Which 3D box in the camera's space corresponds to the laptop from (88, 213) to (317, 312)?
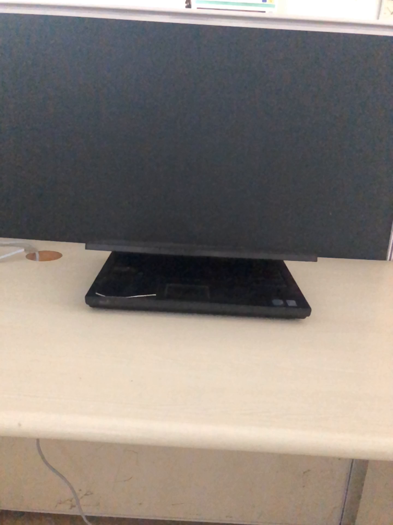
[{"bbox_3d":[0.008,-0.011,0.687,0.302,0.065,0.231,3,20,-1],"label":"laptop"}]
